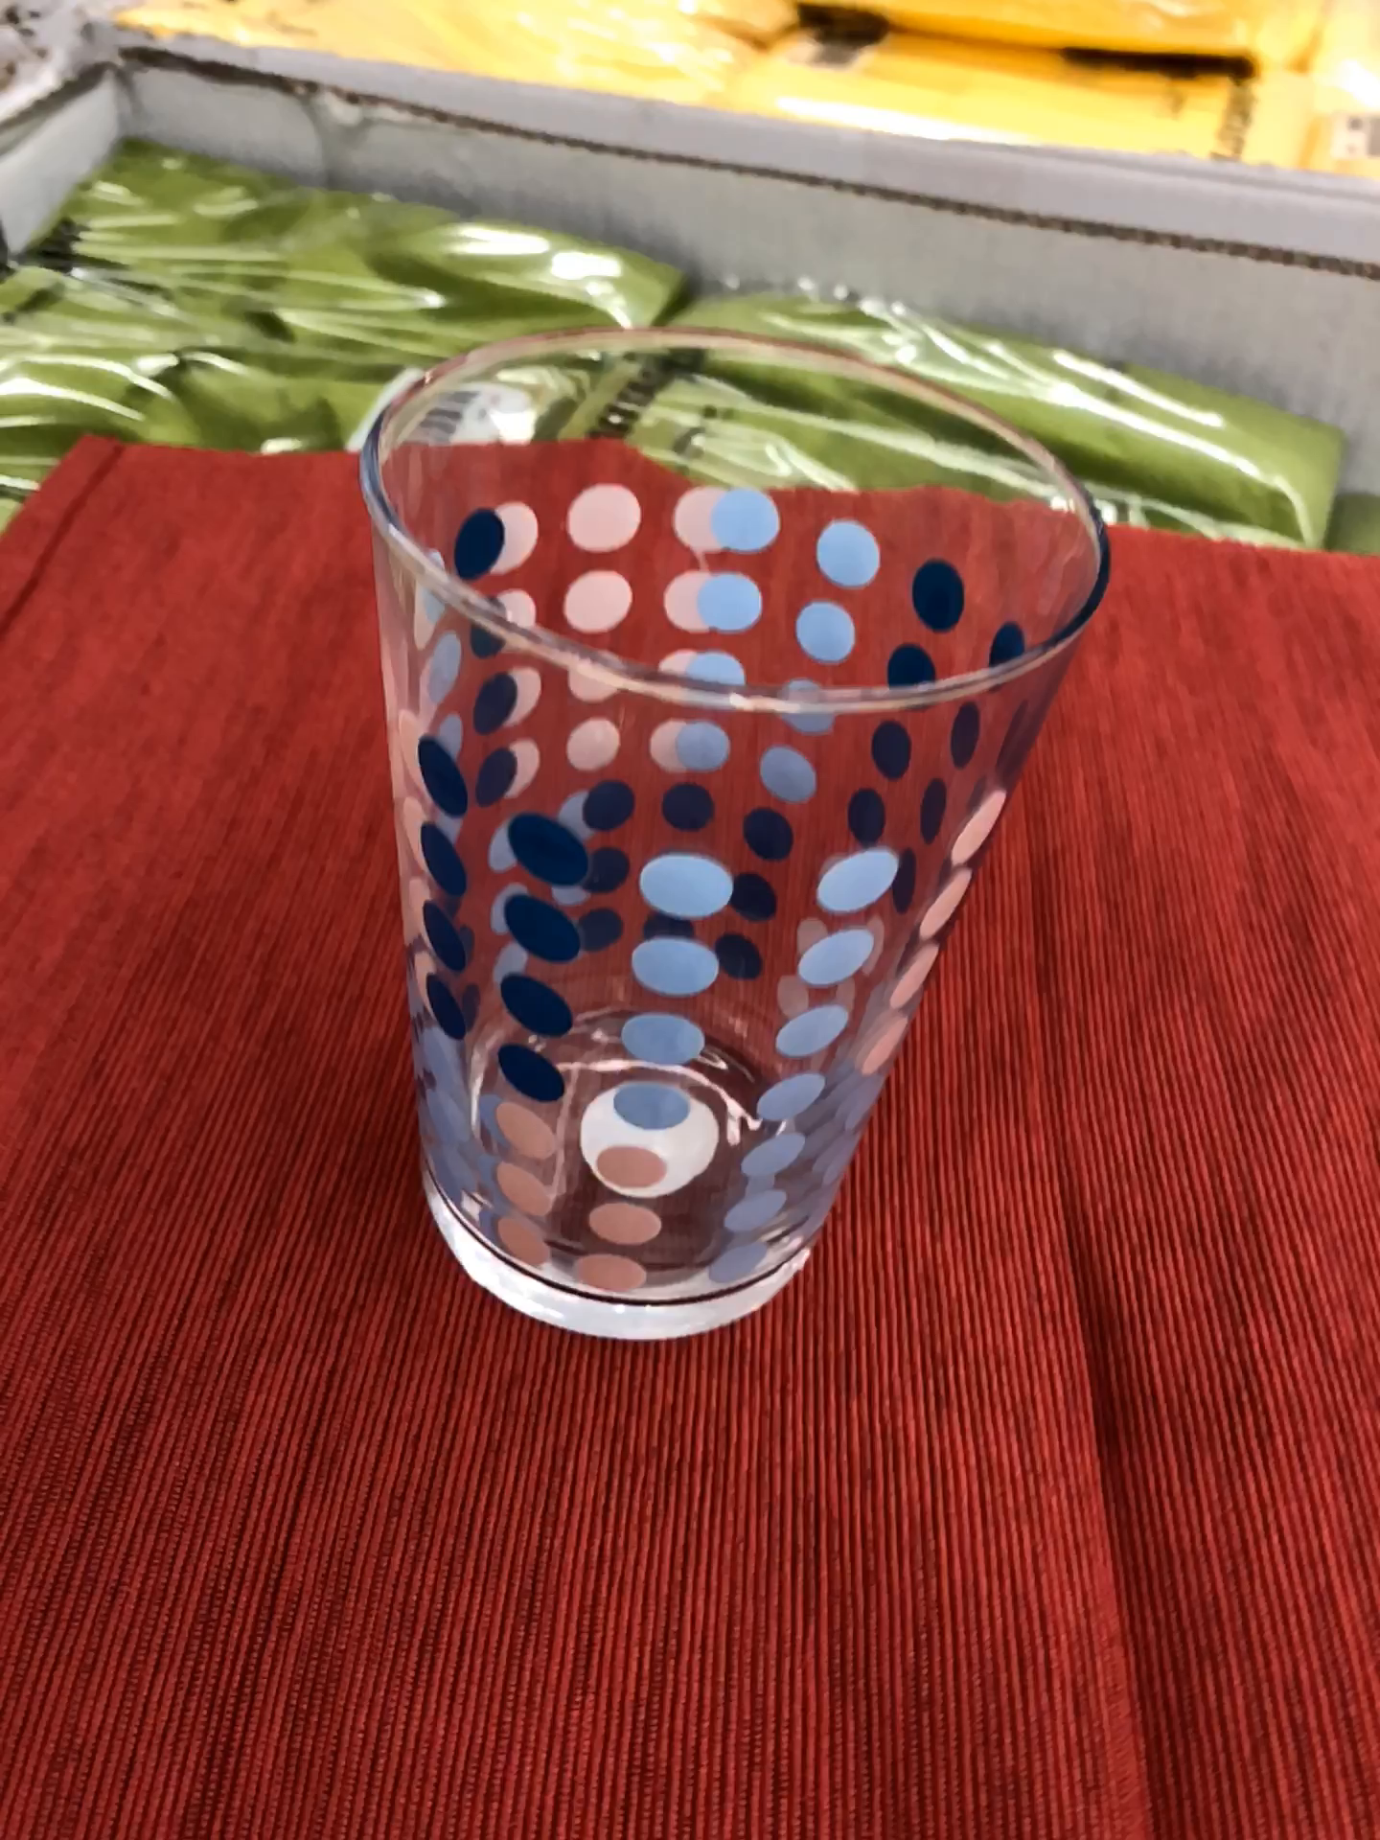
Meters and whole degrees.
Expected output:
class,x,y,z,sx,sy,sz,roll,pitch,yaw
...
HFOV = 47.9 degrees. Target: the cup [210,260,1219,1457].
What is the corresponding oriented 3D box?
class,x,y,z,sx,sy,sz,roll,pitch,yaw
cup,0.002,-0.007,0.210,0.090,0.120,0.090,4,42,-3
